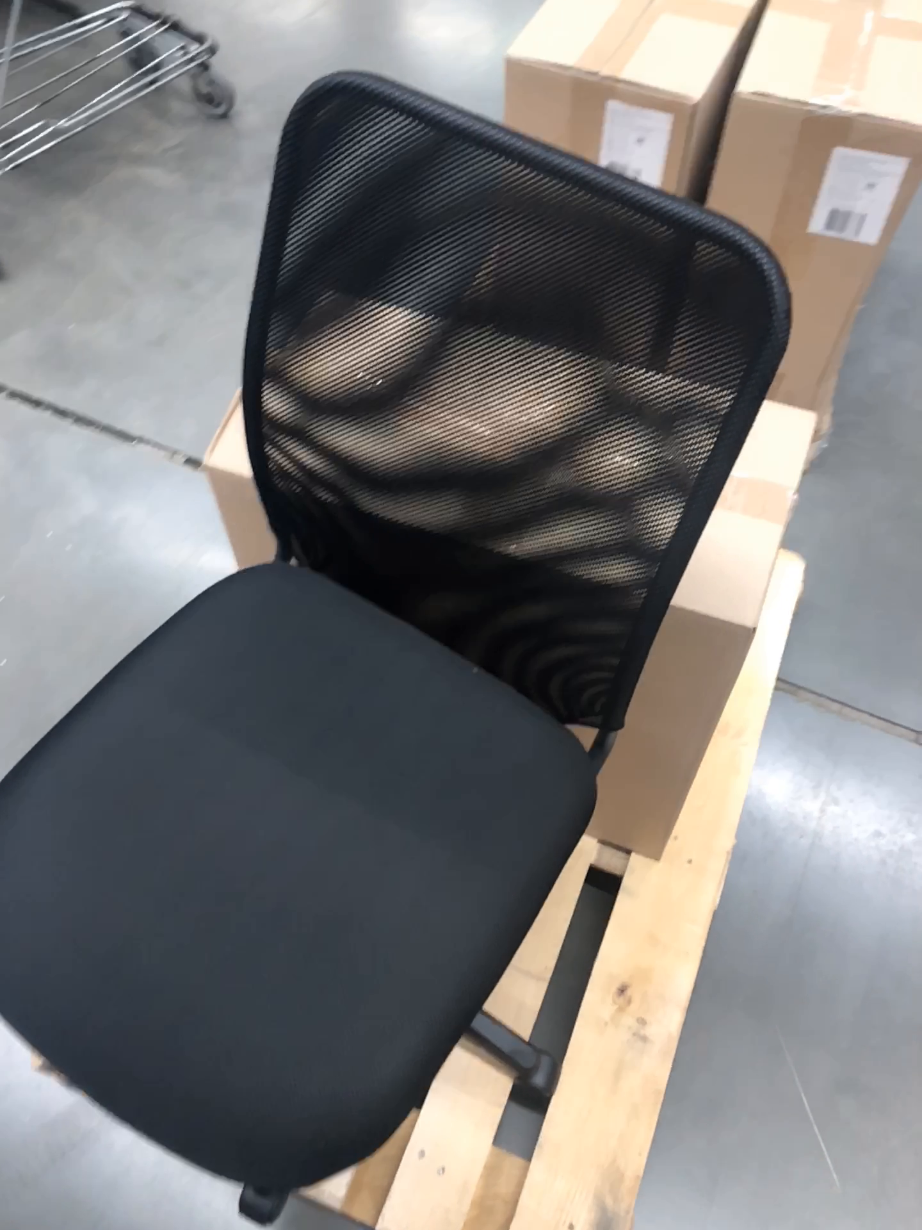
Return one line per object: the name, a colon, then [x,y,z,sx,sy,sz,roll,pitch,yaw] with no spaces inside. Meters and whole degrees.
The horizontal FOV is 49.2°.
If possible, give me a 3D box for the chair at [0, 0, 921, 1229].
chair: [-0.161,0.178,0.902,0.601,1.035,0.572,29,61,18]
